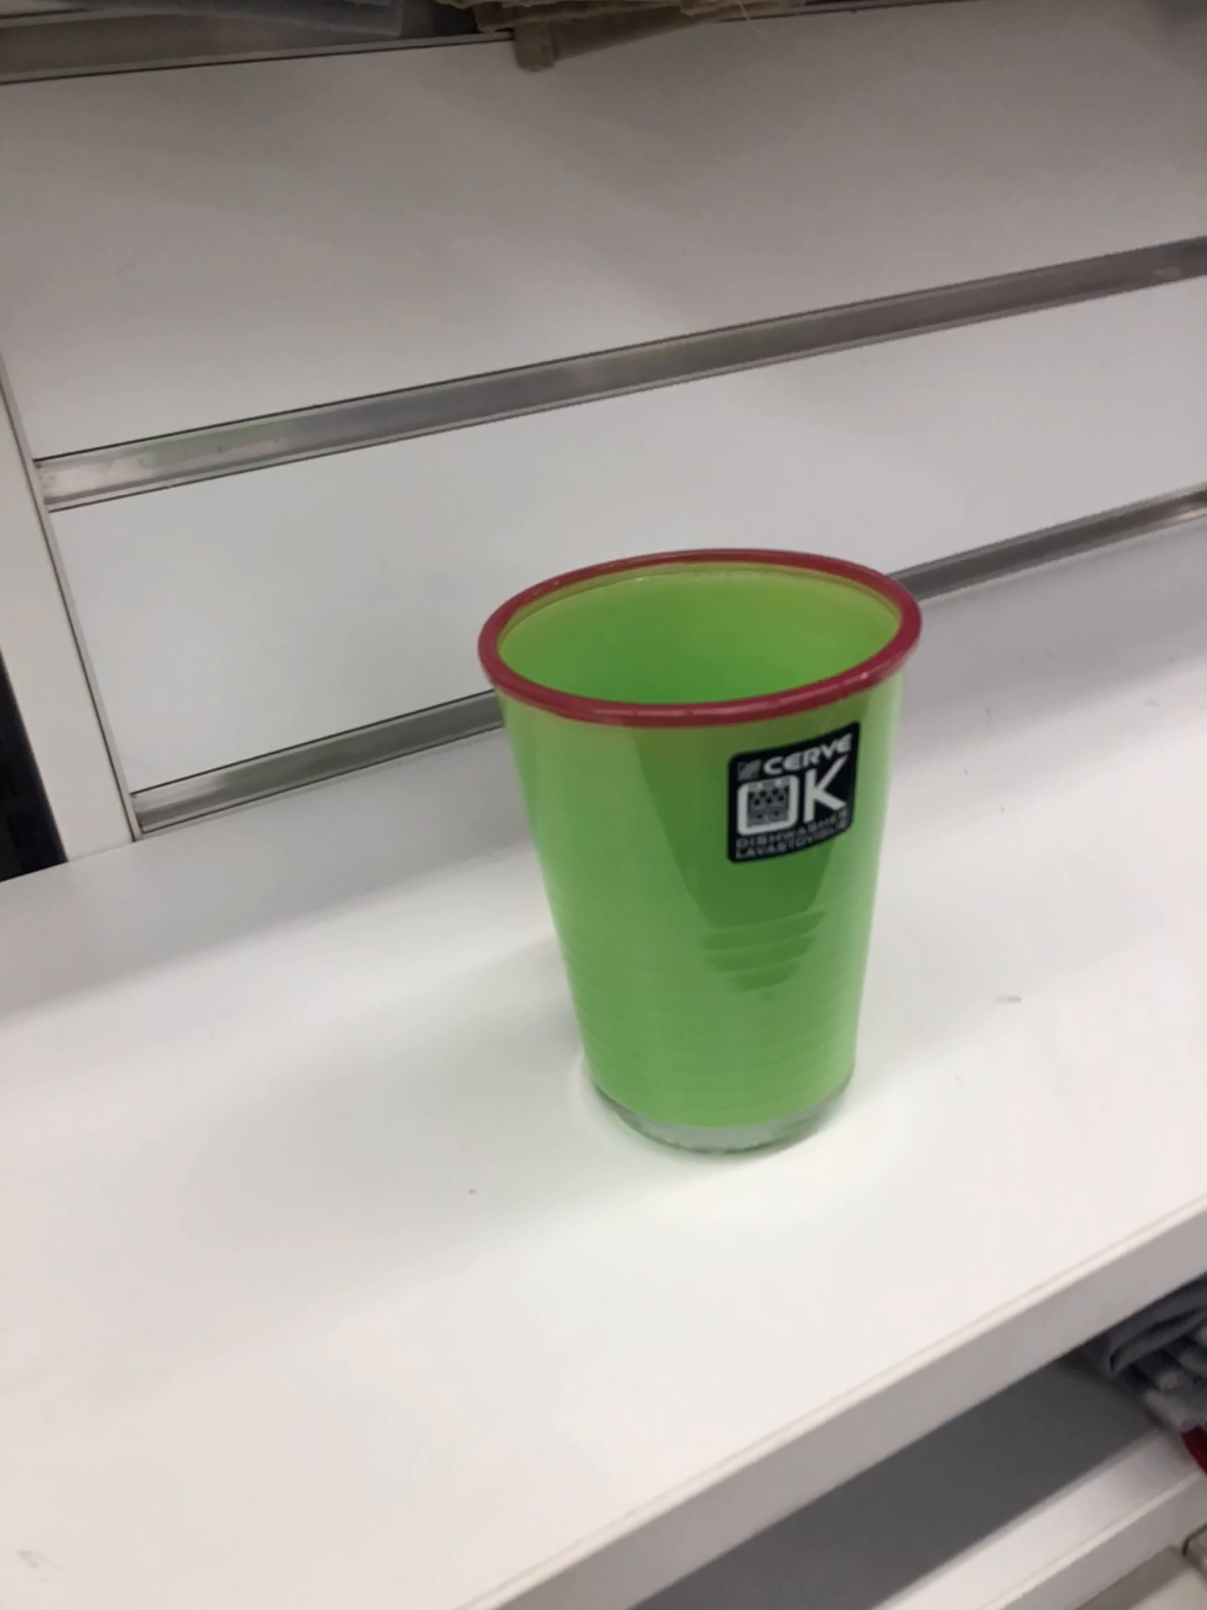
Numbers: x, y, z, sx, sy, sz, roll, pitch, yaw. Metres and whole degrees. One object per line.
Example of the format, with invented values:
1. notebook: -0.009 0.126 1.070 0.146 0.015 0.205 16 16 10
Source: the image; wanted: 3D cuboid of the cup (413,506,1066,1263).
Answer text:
1. cup: 0.024 0.009 0.256 0.086 0.098 0.082 -5 29 3
